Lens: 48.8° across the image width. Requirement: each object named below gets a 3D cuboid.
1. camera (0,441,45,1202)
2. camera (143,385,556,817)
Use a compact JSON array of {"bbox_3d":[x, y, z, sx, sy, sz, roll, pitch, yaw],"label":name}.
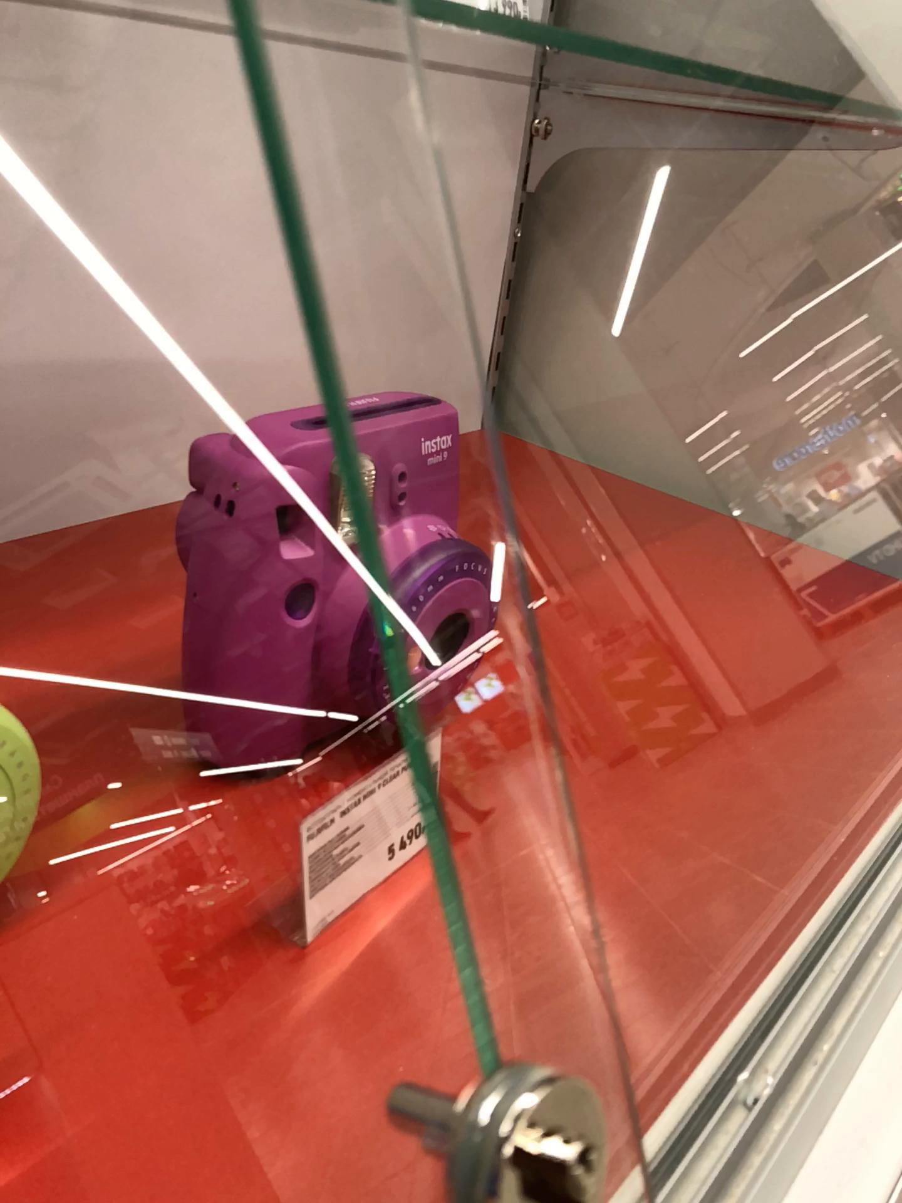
[{"bbox_3d":[-0.175,0.043,0.221,0.073,0.118,0.135,23,29,28],"label":"camera"},{"bbox_3d":[-0.035,-0.009,0.346,0.073,0.103,0.117,26,31,32],"label":"camera"}]
